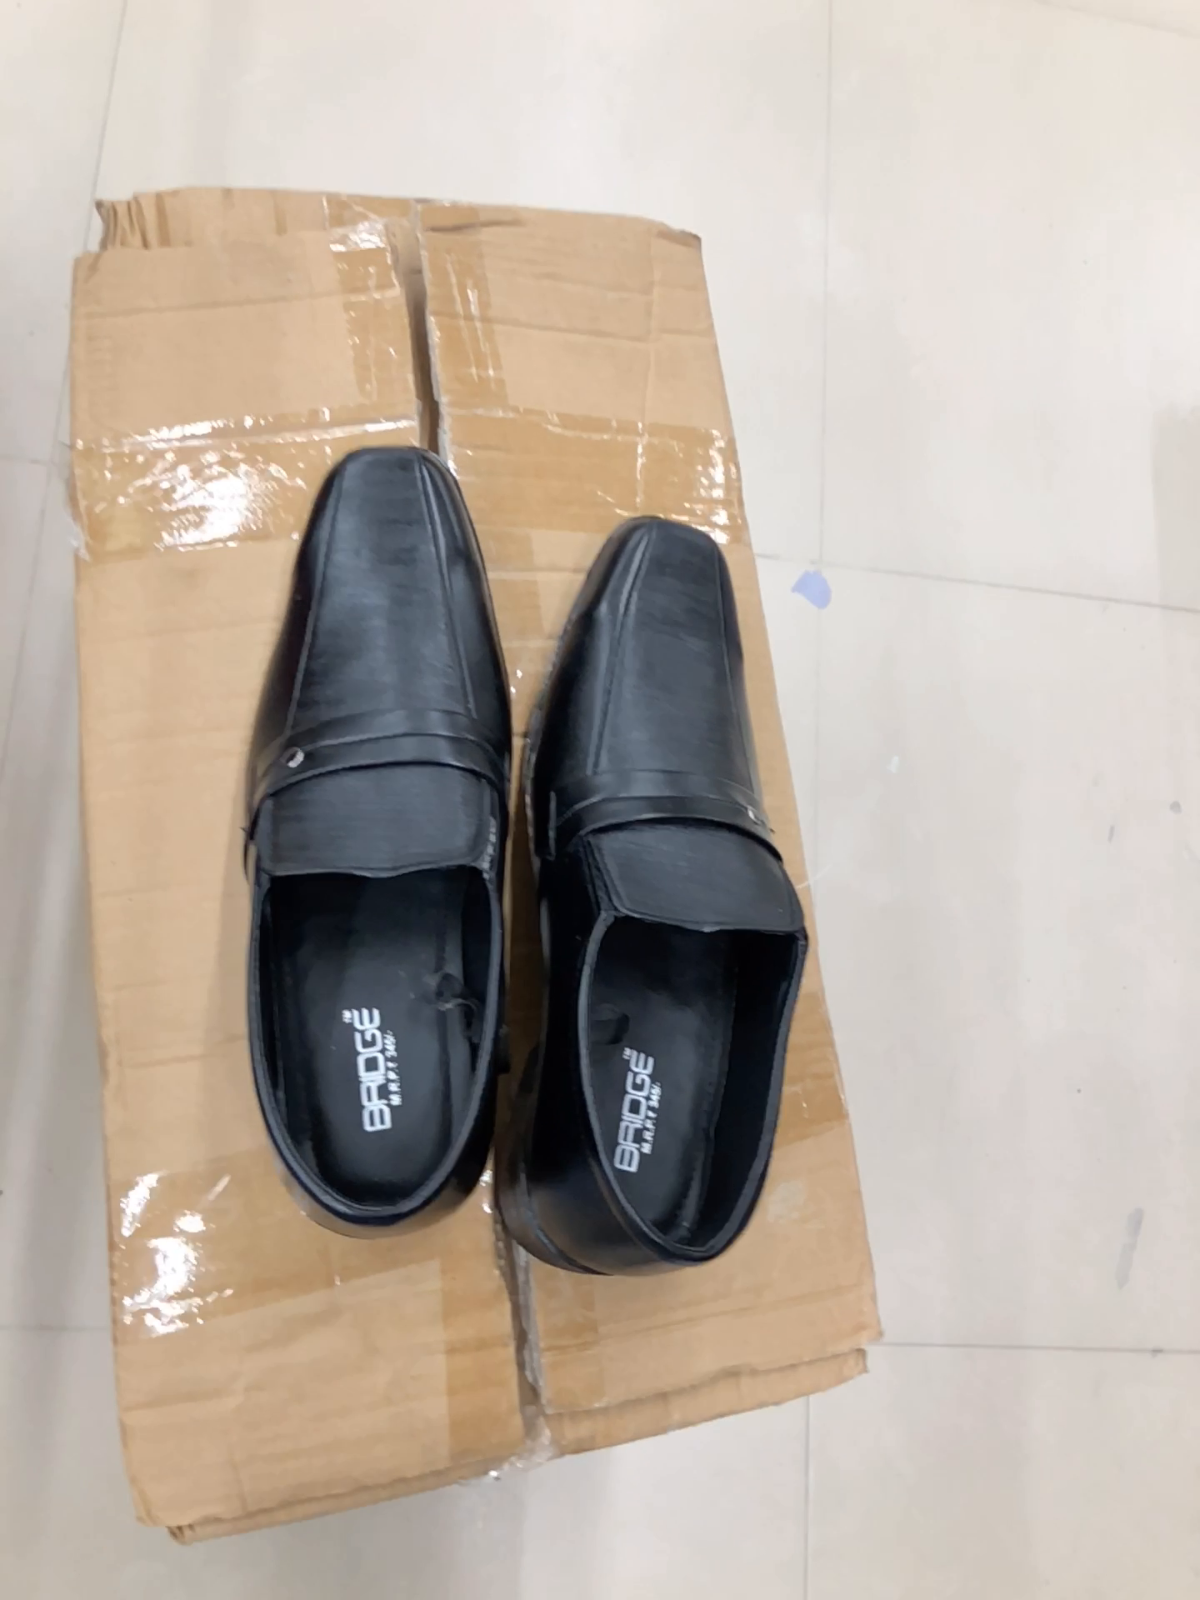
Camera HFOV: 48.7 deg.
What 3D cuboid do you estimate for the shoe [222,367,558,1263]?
[{"bbox_3d":[-0.081,0.008,0.492,0.100,0.130,0.290,-1,78,-11],"label":"shoe"}]

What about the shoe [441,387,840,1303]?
[{"bbox_3d":[0.015,0.021,0.517,0.100,0.130,0.310,8,76,-22],"label":"shoe"}]
